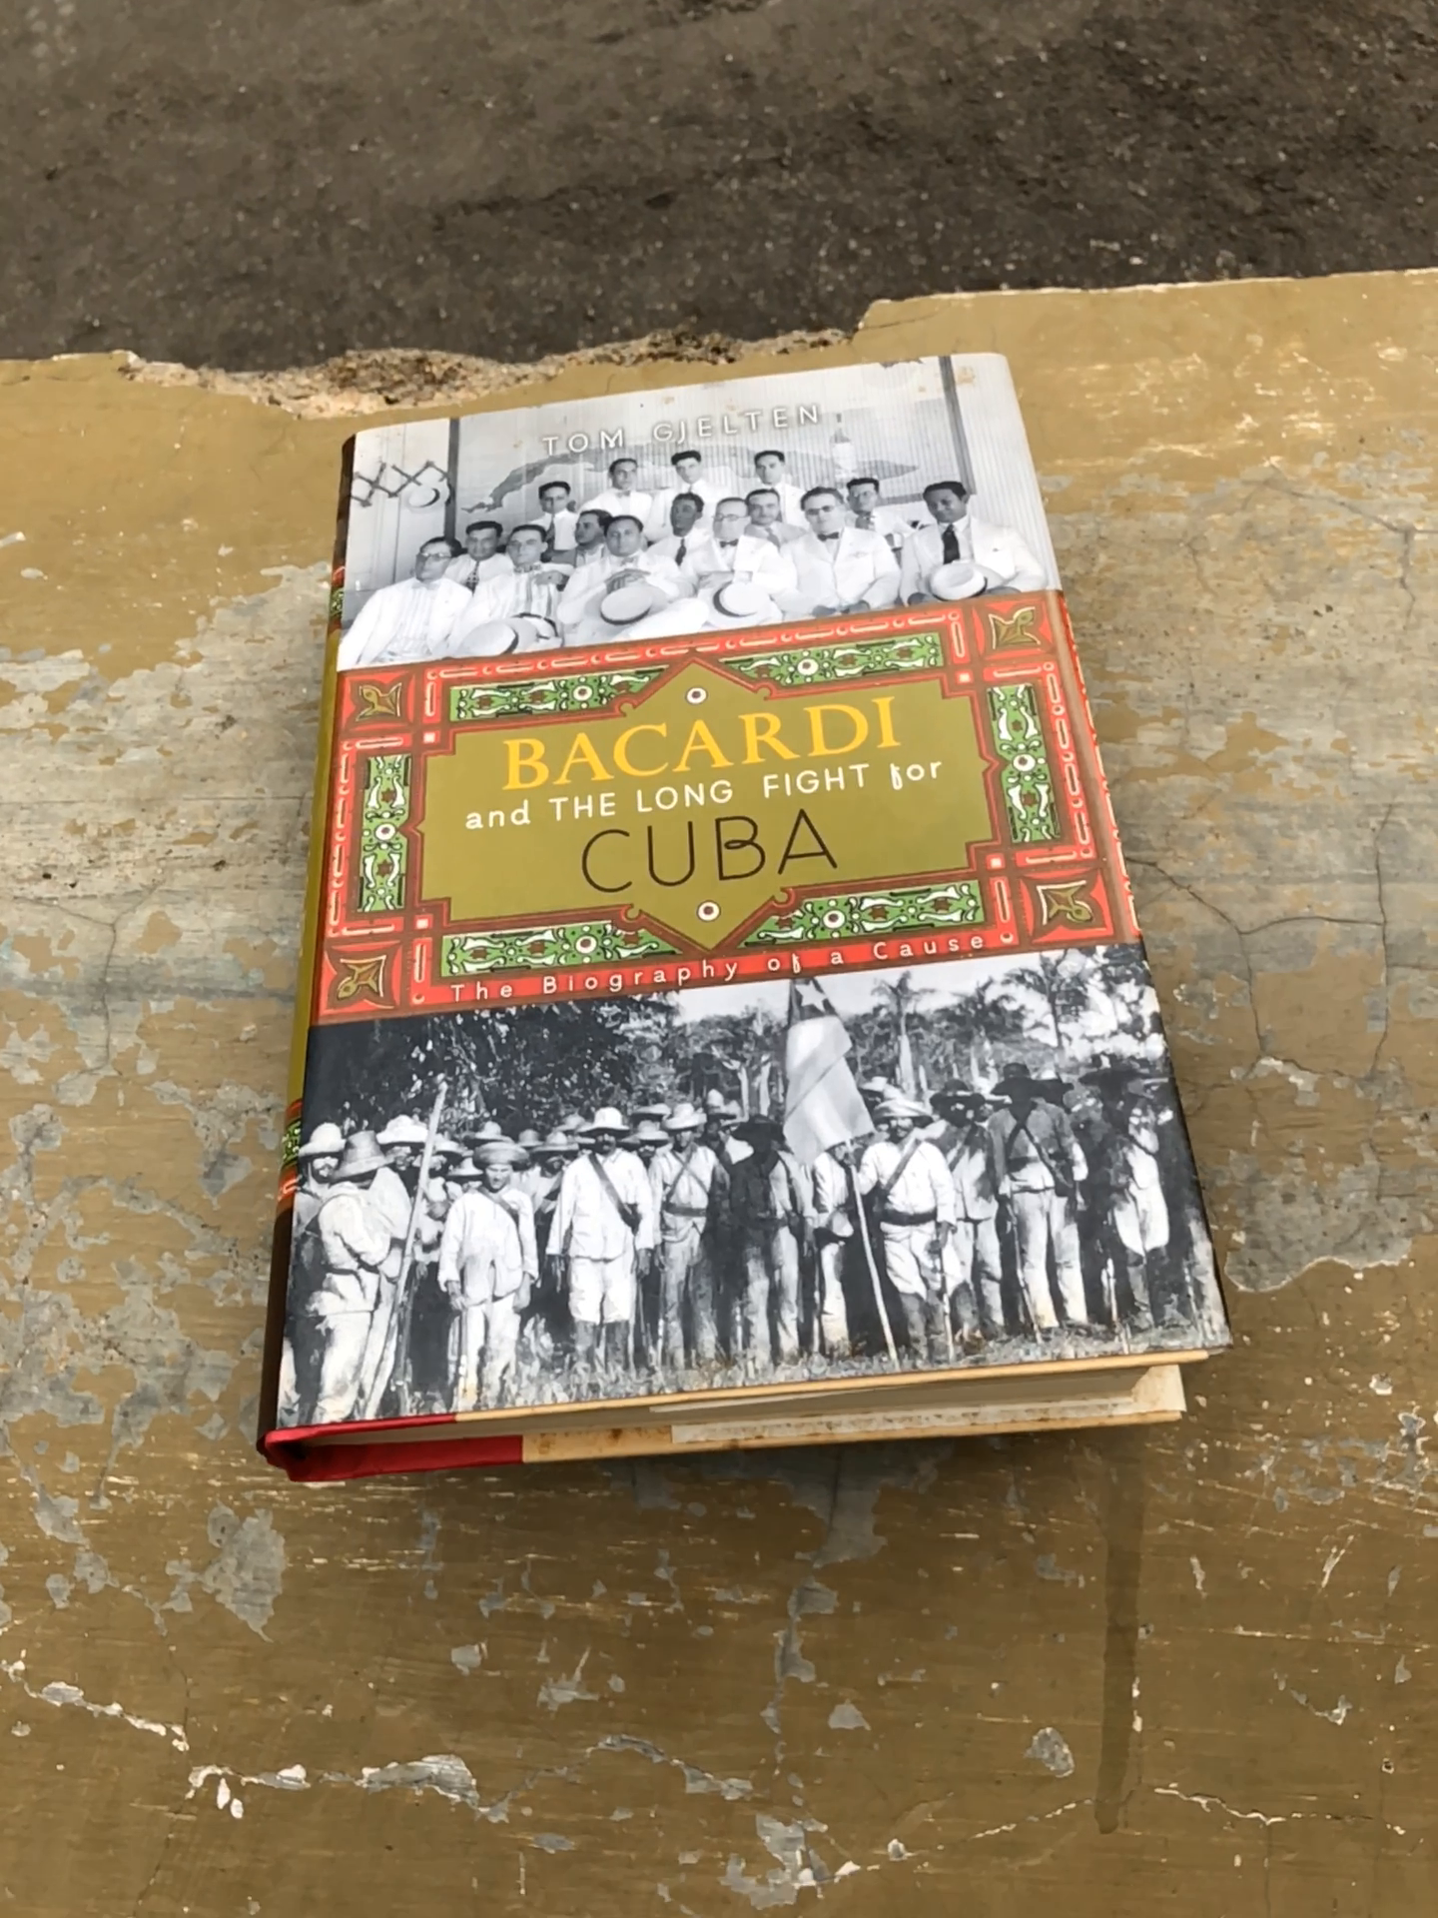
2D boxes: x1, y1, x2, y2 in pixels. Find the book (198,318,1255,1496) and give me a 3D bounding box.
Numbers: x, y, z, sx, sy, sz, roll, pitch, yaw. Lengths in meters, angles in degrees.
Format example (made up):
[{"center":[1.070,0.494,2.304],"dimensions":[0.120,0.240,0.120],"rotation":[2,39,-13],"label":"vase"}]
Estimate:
[{"center":[-0.003,-0.025,0.343],"dimensions":[0.170,0.050,0.251],"rotation":[-5,59,4],"label":"book"}]
